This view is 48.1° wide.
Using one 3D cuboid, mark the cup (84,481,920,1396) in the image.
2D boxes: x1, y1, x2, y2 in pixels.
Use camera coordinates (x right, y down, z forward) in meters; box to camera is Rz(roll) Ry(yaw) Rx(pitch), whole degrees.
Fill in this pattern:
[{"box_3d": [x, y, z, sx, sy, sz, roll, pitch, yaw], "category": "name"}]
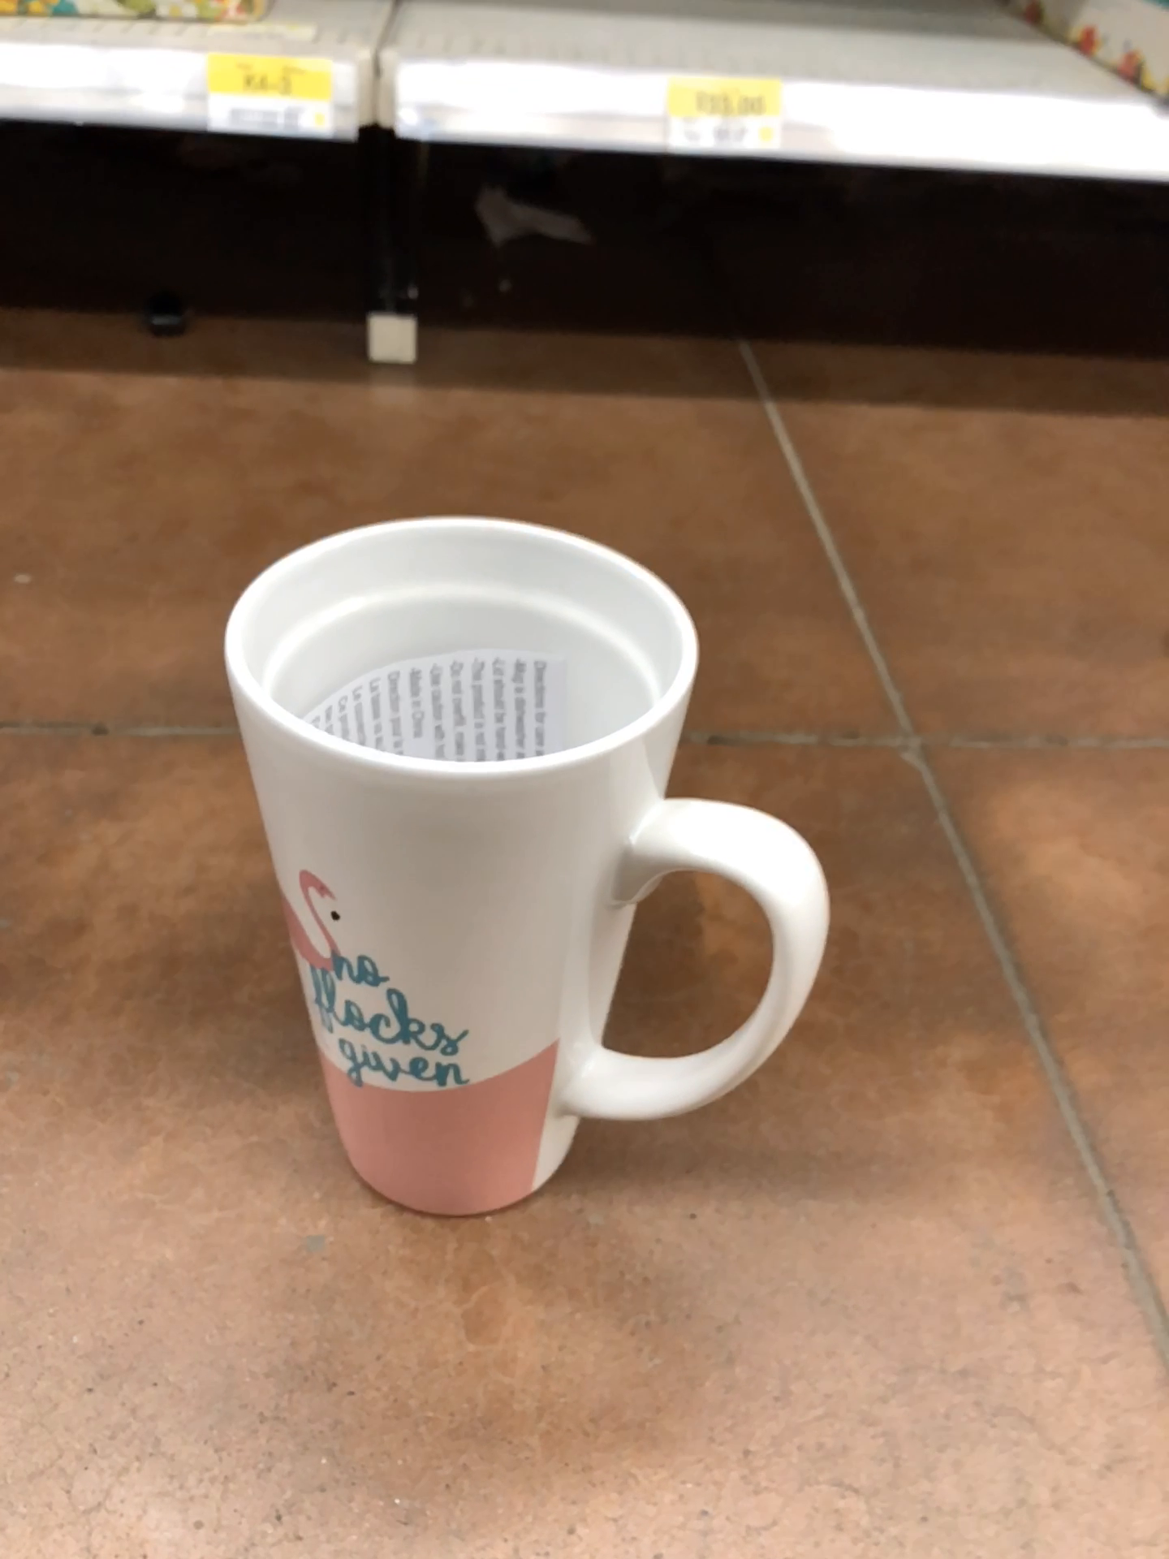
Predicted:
[{"box_3d": [-0.015, 0.031, 0.295, 0.130, 0.139, 0.100, 18, 39, 17], "category": "cup"}]
